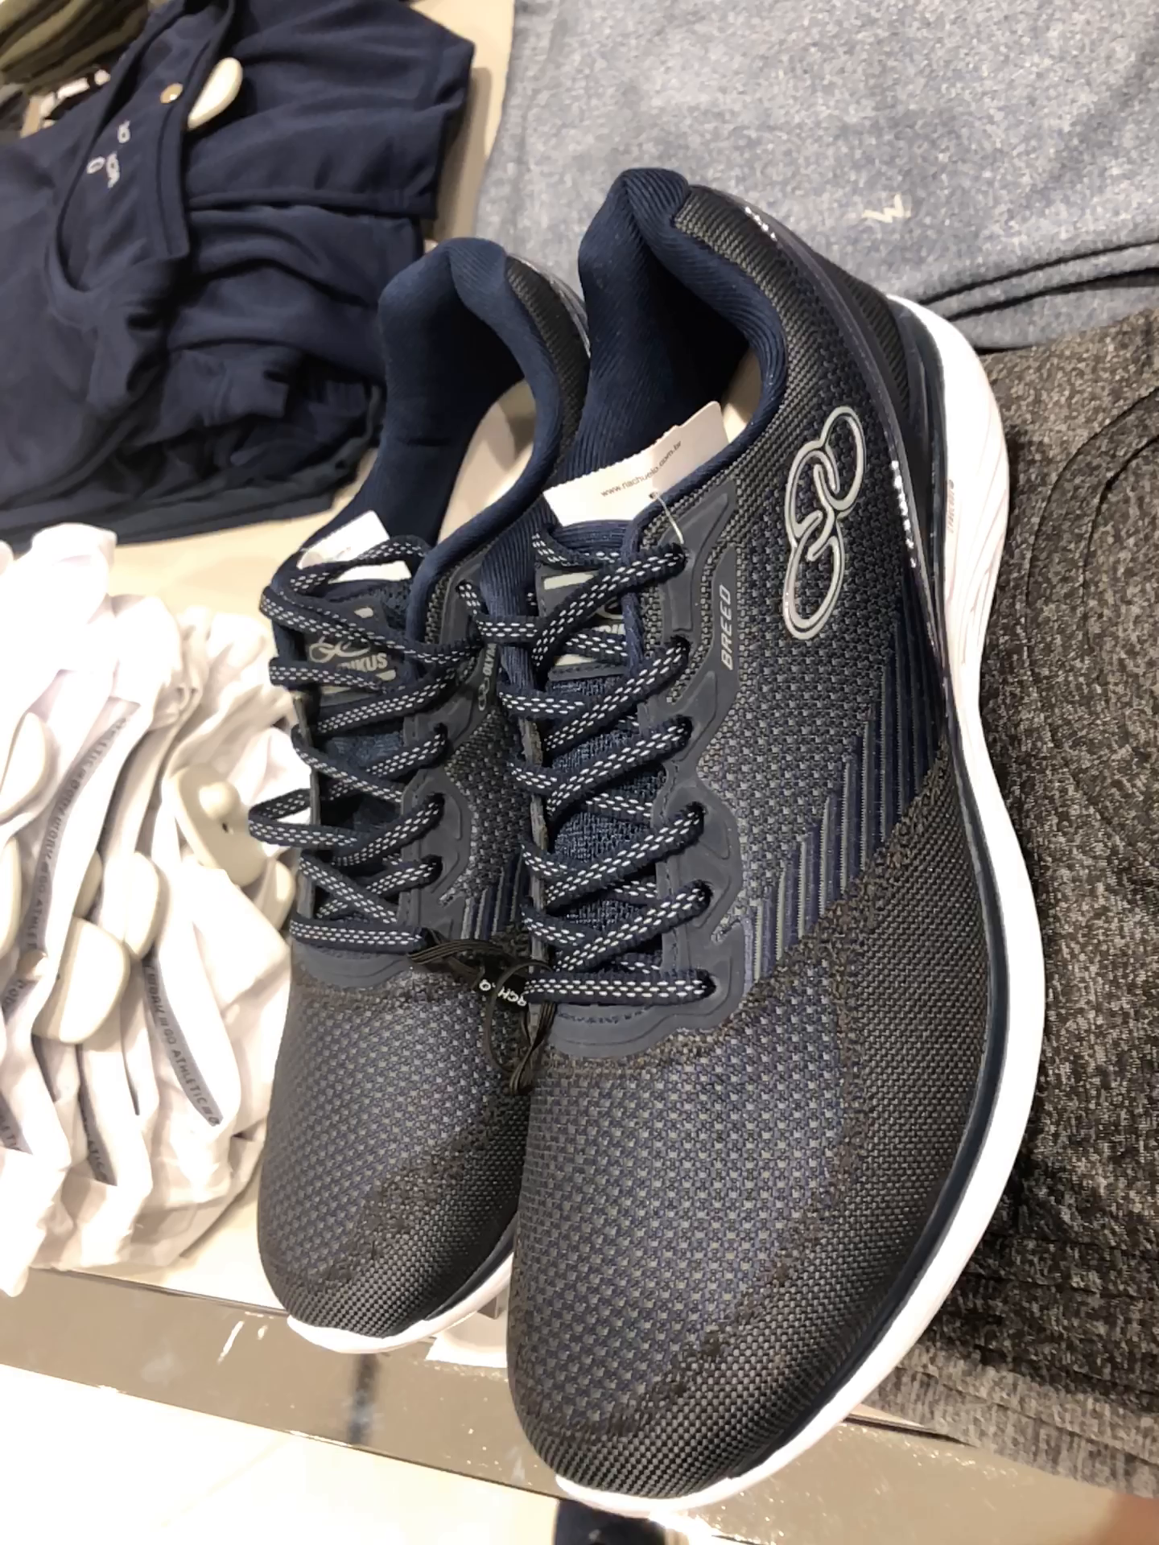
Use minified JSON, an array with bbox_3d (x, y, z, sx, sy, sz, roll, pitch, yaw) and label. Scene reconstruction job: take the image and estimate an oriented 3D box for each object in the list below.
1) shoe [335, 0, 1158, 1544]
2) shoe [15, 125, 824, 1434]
[{"bbox_3d":[0.049,0.007,0.298,0.120,0.130,0.290,-13,66,47],"label":"shoe"},{"bbox_3d":[-0.029,0.002,0.360,0.120,0.129,0.290,0,74,34],"label":"shoe"}]
